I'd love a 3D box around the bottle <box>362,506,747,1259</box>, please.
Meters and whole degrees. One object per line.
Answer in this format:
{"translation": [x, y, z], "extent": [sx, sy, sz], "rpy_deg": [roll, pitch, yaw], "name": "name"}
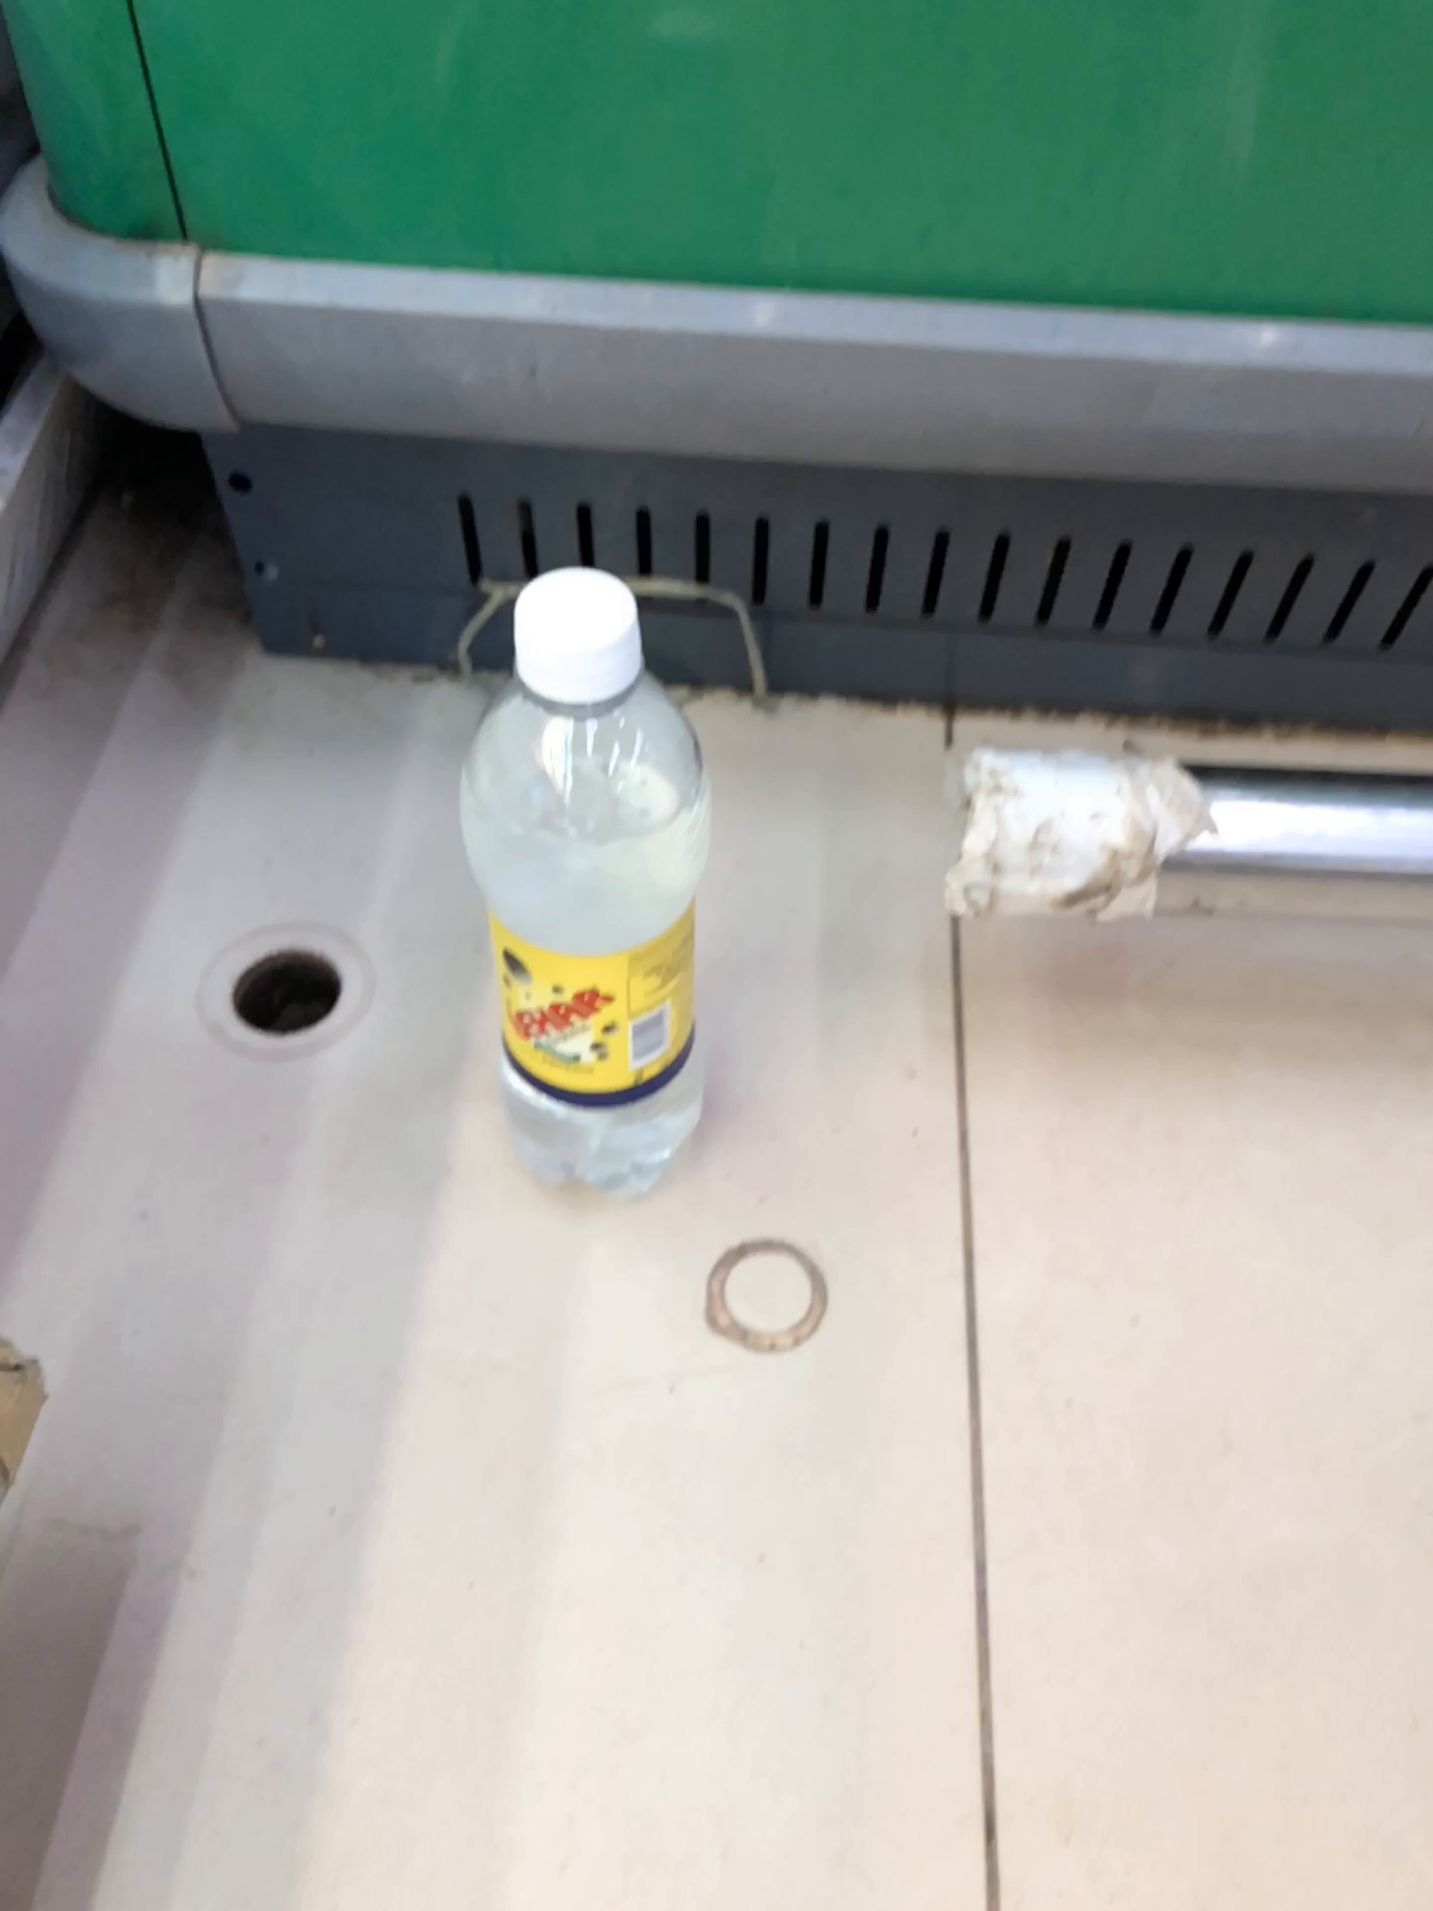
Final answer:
{"translation": [-0.039, -0.007, 0.464], "extent": [0.070, 0.229, 0.070], "rpy_deg": [1, 50, -1], "name": "bottle"}
